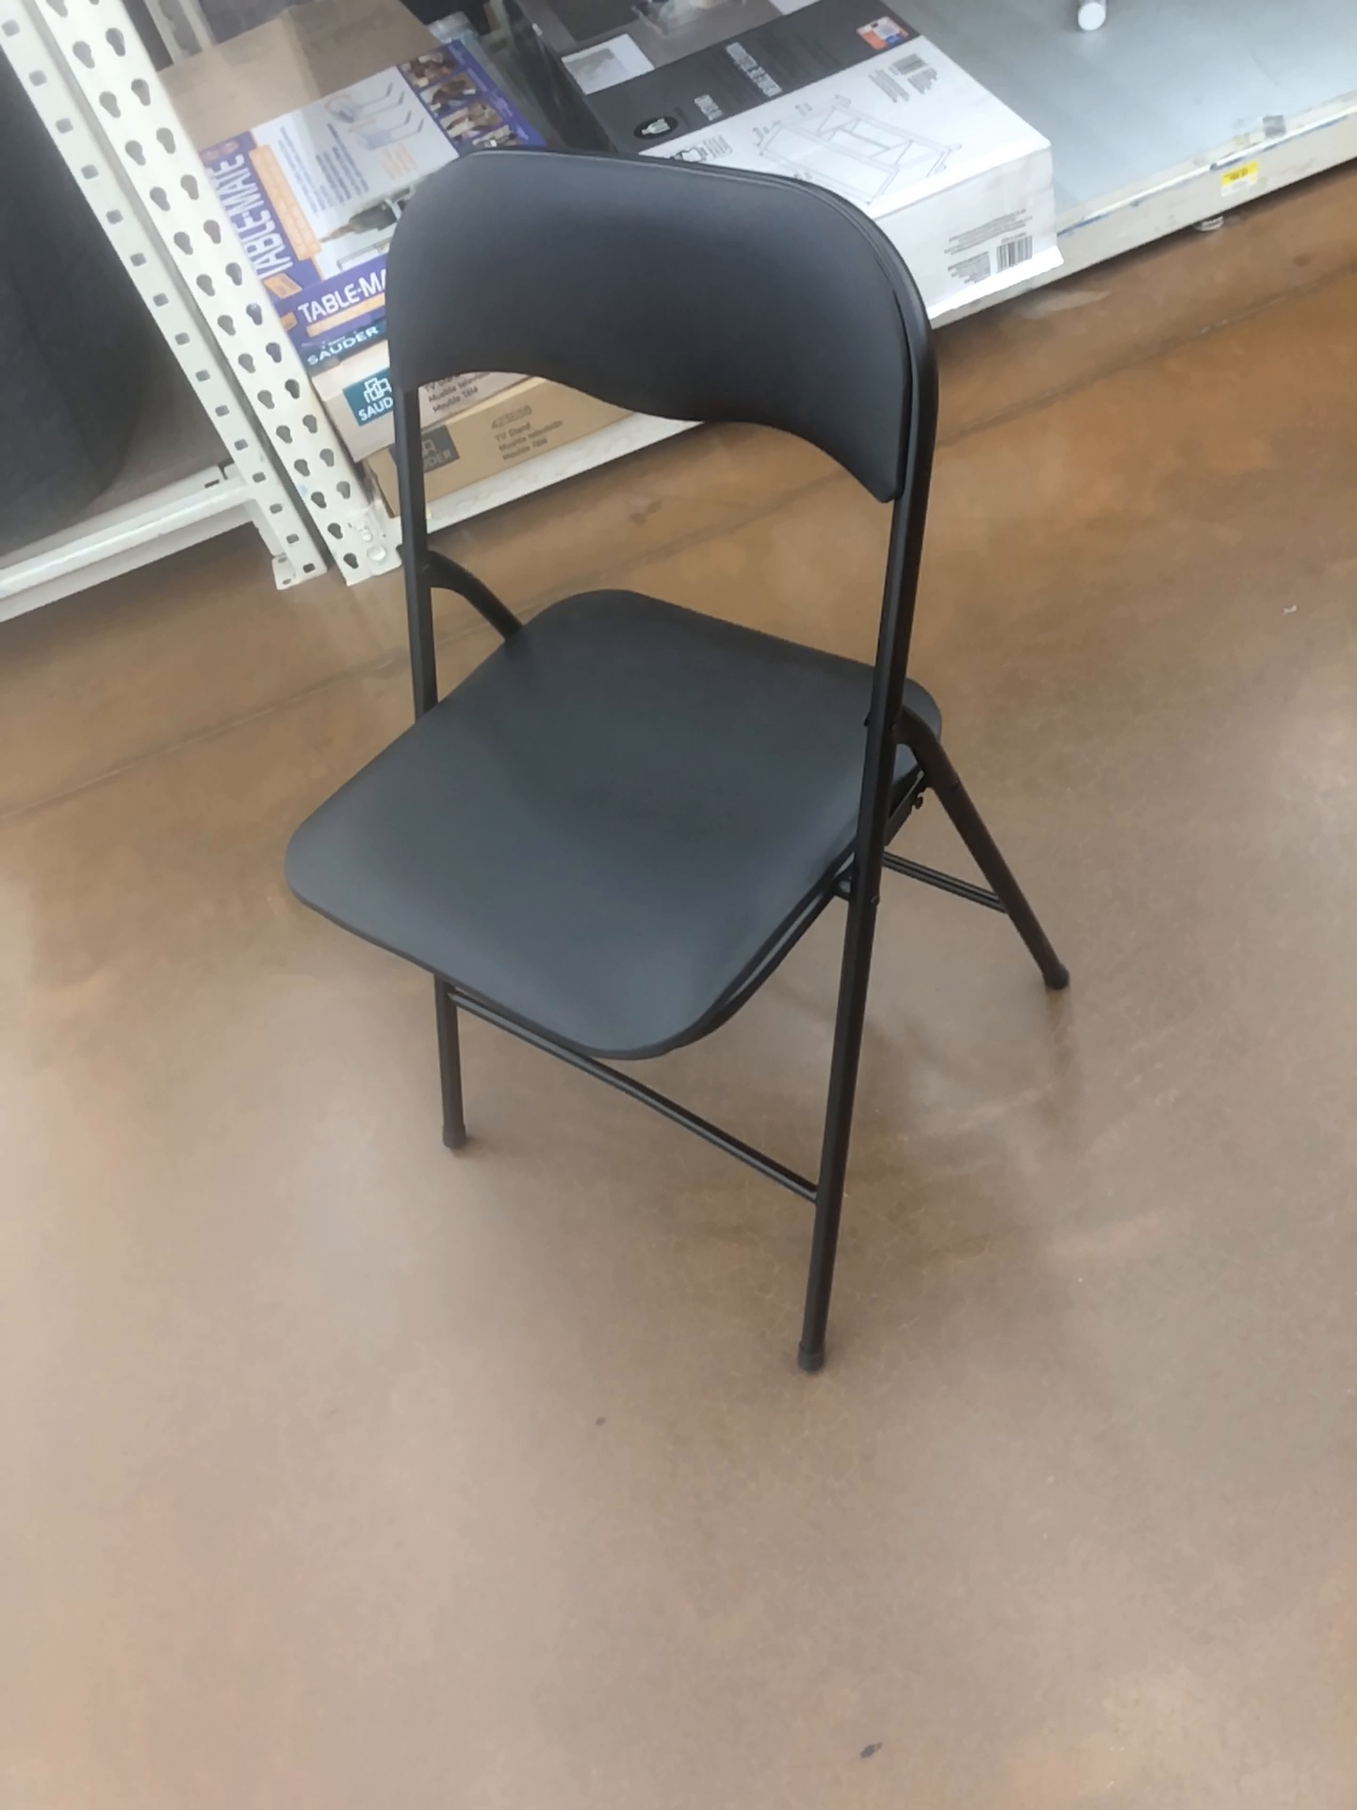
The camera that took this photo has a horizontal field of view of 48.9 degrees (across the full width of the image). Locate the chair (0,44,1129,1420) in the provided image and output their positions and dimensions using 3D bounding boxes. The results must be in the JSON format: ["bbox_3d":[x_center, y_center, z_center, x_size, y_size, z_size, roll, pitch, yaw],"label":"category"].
[{"bbox_3d":[-0.037,-0.106,1.093,0.521,0.758,0.490,25,62,33],"label":"chair"}]
